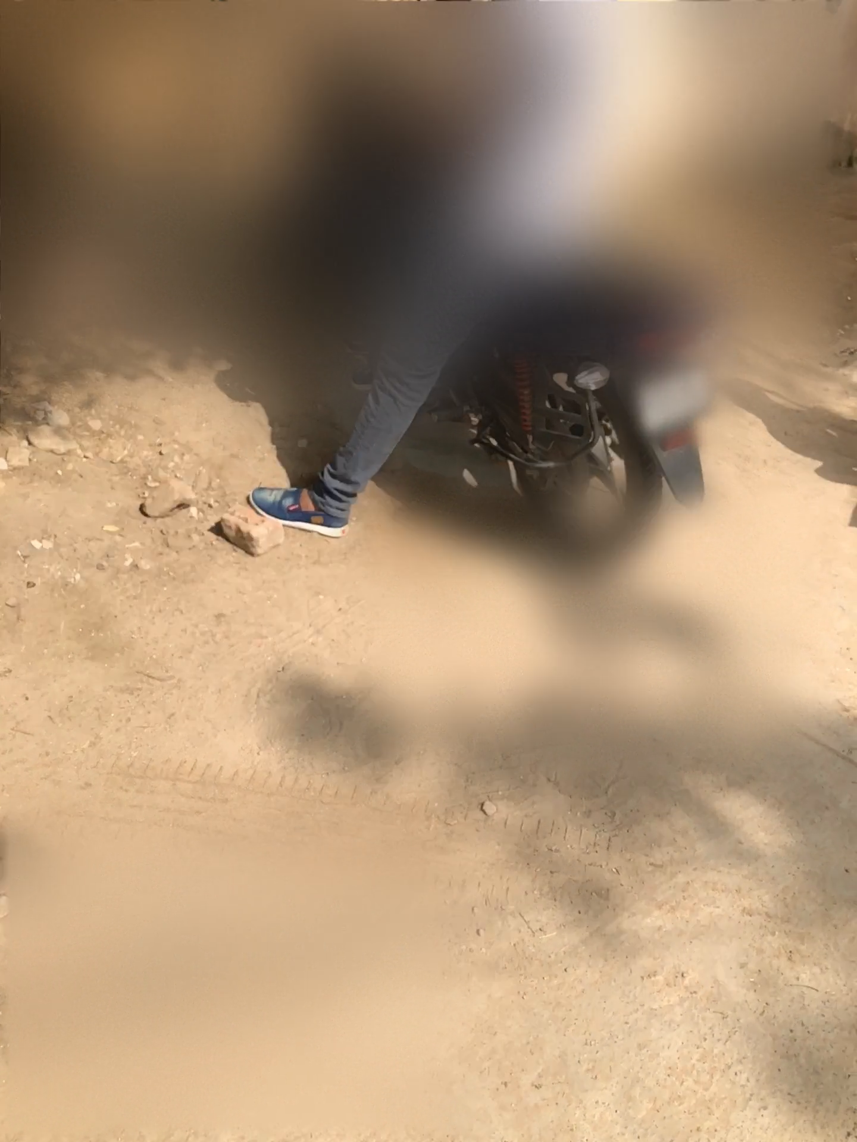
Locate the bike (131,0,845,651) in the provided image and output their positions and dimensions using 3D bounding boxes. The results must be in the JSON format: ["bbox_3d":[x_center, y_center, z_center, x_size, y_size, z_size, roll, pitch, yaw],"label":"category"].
[{"bbox_3d":[-0.054,-0.904,2.586,0.742,1.241,1.788,-17,42,-32],"label":"bike"}]
